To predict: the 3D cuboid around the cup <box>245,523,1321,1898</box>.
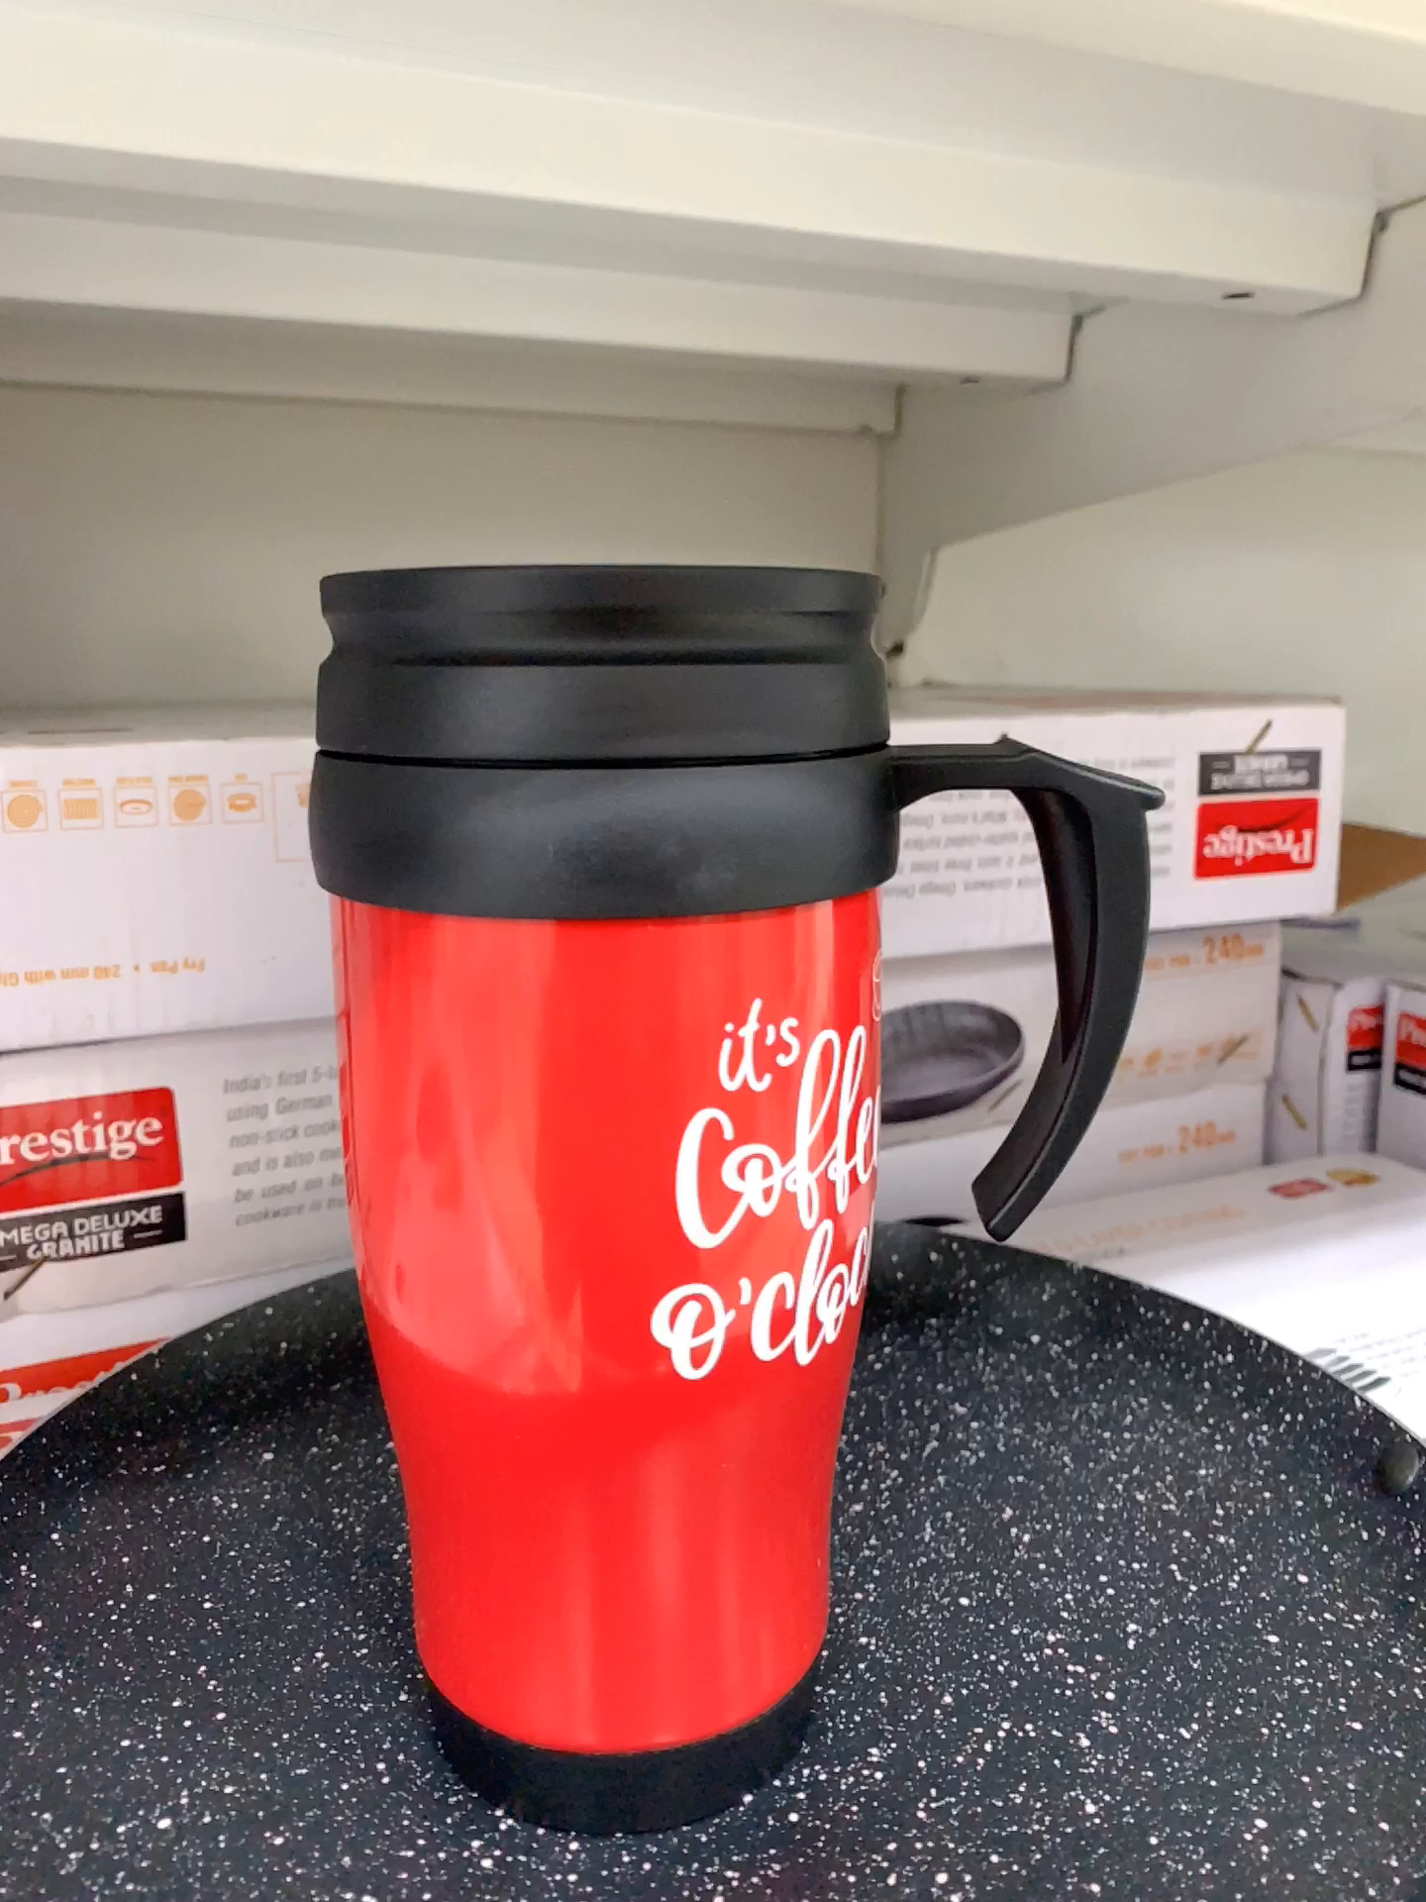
[{"bbox_3d":[0.007,0.028,0.224,0.120,0.169,0.090,-1,10,-3],"label":"cup"}]
